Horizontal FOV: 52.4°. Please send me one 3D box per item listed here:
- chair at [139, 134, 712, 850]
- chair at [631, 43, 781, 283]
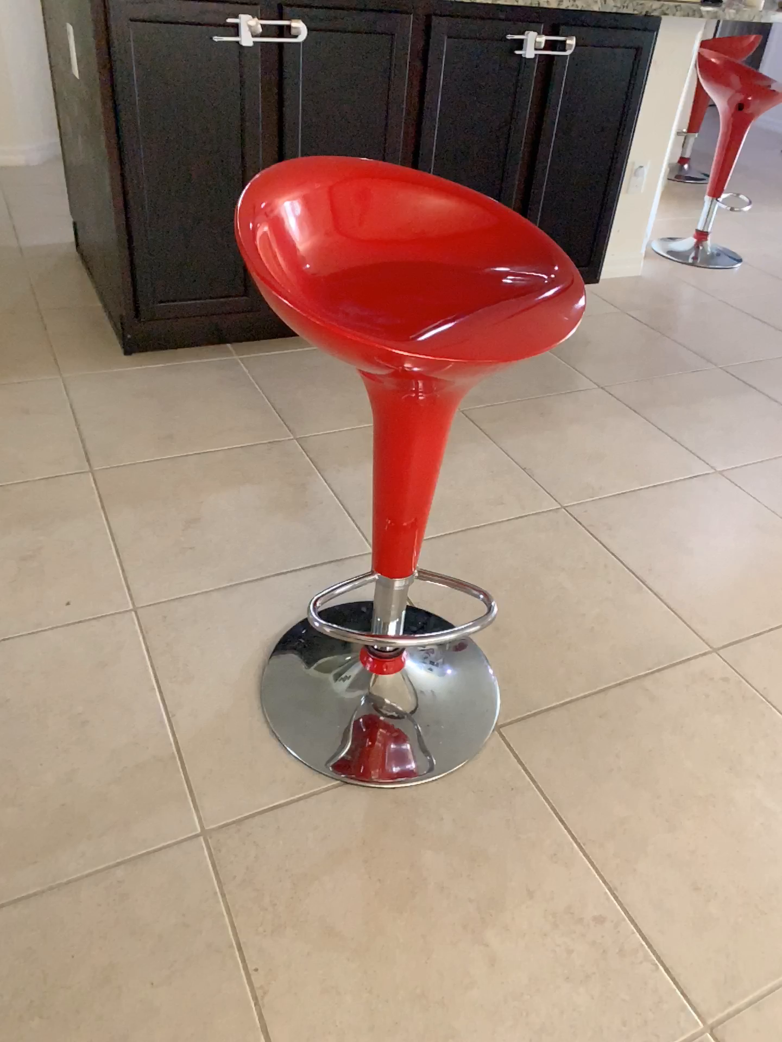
[{"bbox_3d":[0.012,-0.059,1.054,0.433,0.726,0.440,33,43,33],"label":"chair"},{"bbox_3d":[1.270,-1.390,3.072,0.461,0.716,0.553,9,35,5],"label":"chair"}]
